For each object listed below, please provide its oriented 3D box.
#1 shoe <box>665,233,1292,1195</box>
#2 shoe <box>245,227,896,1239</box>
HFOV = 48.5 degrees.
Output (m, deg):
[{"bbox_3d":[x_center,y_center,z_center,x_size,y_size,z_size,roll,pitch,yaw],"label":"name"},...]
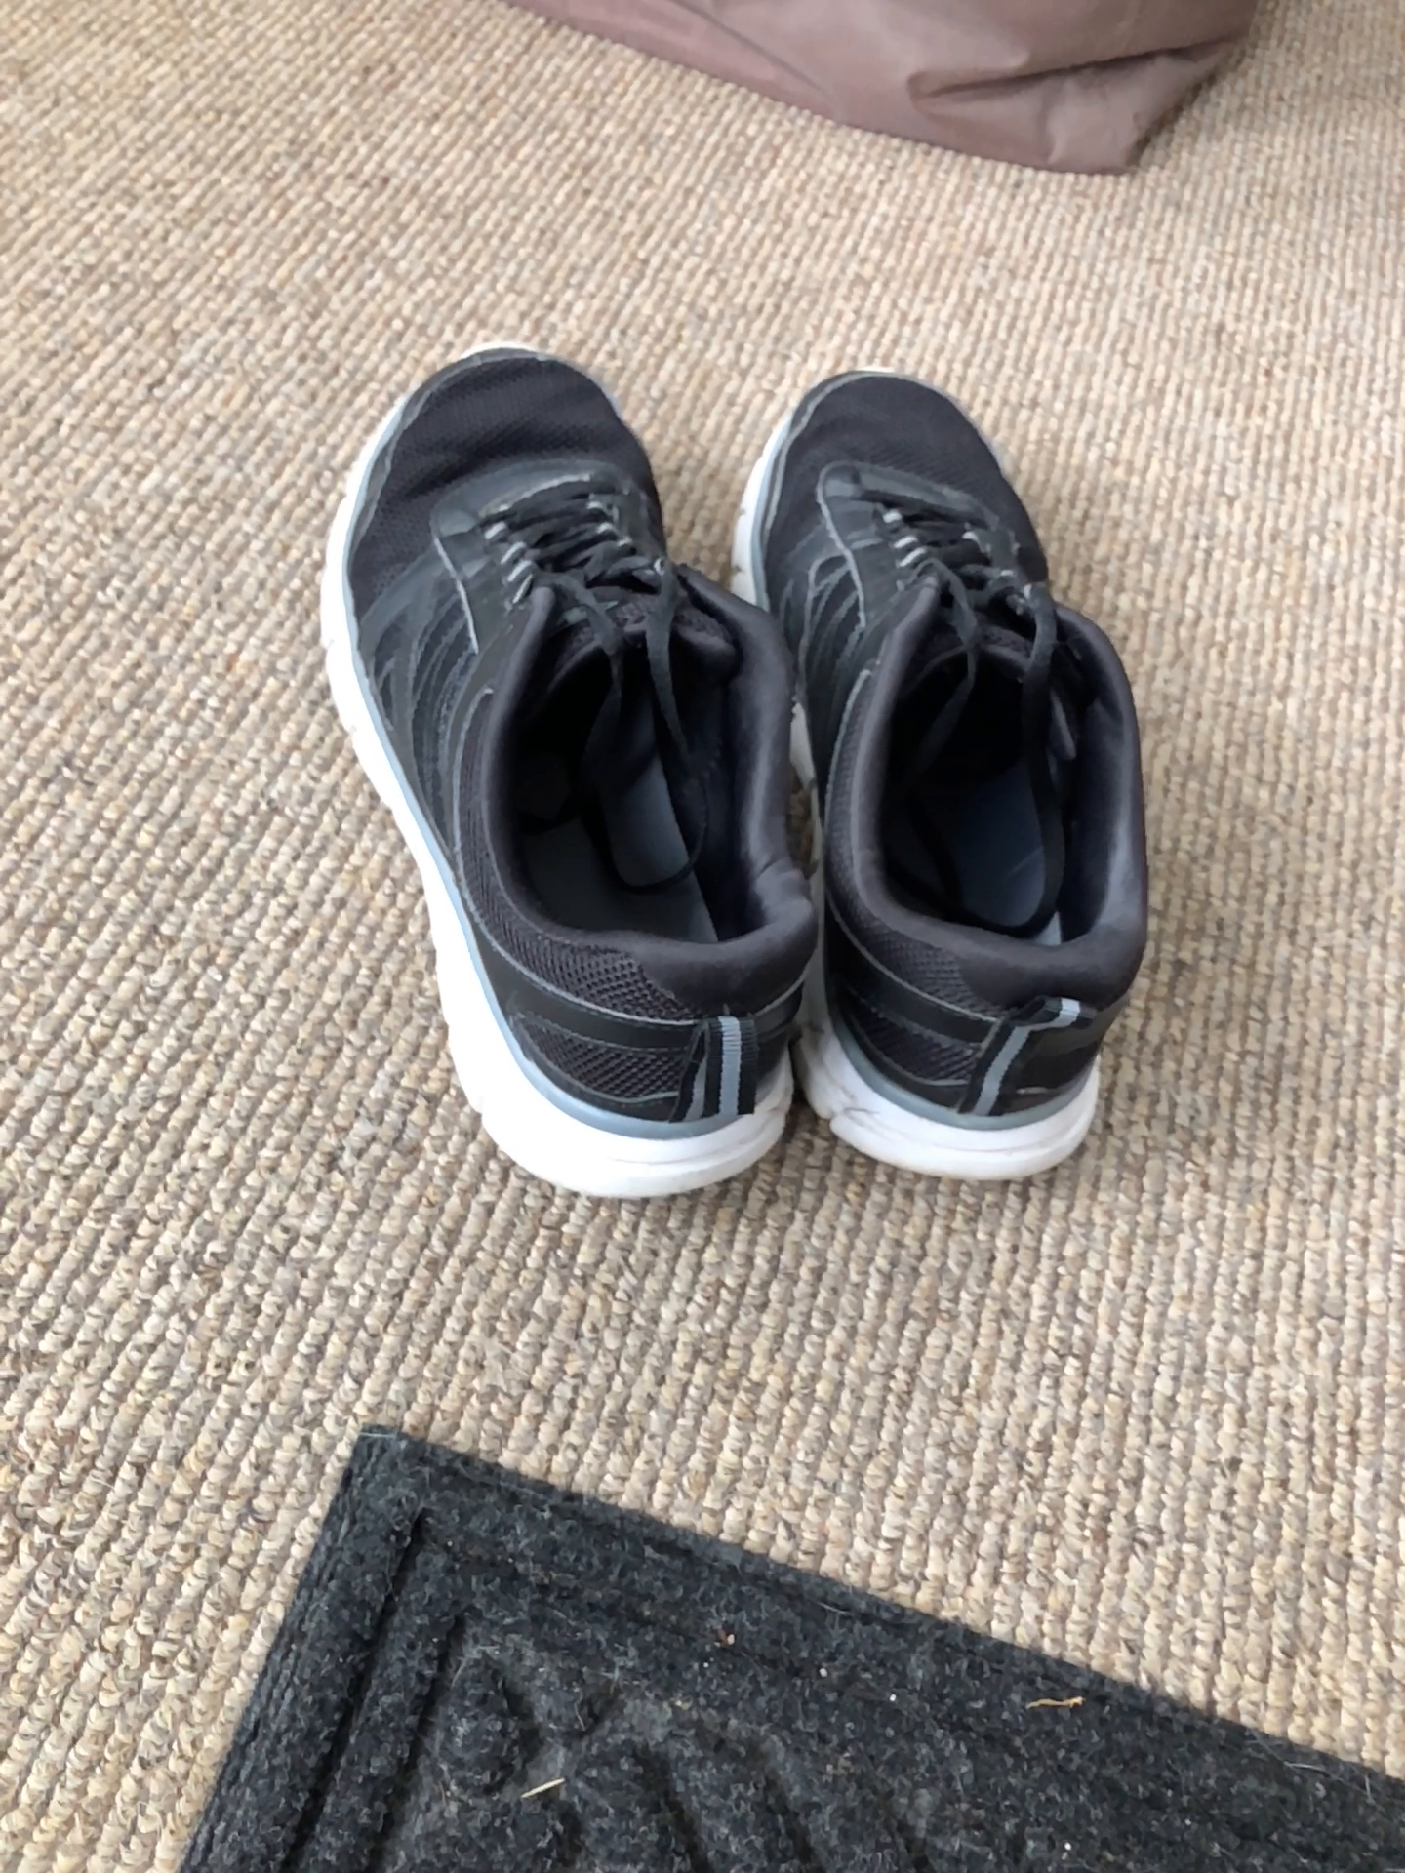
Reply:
[{"bbox_3d":[0.062,-0.073,0.476,0.120,0.110,0.277,4,57,-11],"label":"shoe"},{"bbox_3d":[-0.054,-0.071,0.445,0.118,0.100,0.276,-6,59,-17],"label":"shoe"}]
